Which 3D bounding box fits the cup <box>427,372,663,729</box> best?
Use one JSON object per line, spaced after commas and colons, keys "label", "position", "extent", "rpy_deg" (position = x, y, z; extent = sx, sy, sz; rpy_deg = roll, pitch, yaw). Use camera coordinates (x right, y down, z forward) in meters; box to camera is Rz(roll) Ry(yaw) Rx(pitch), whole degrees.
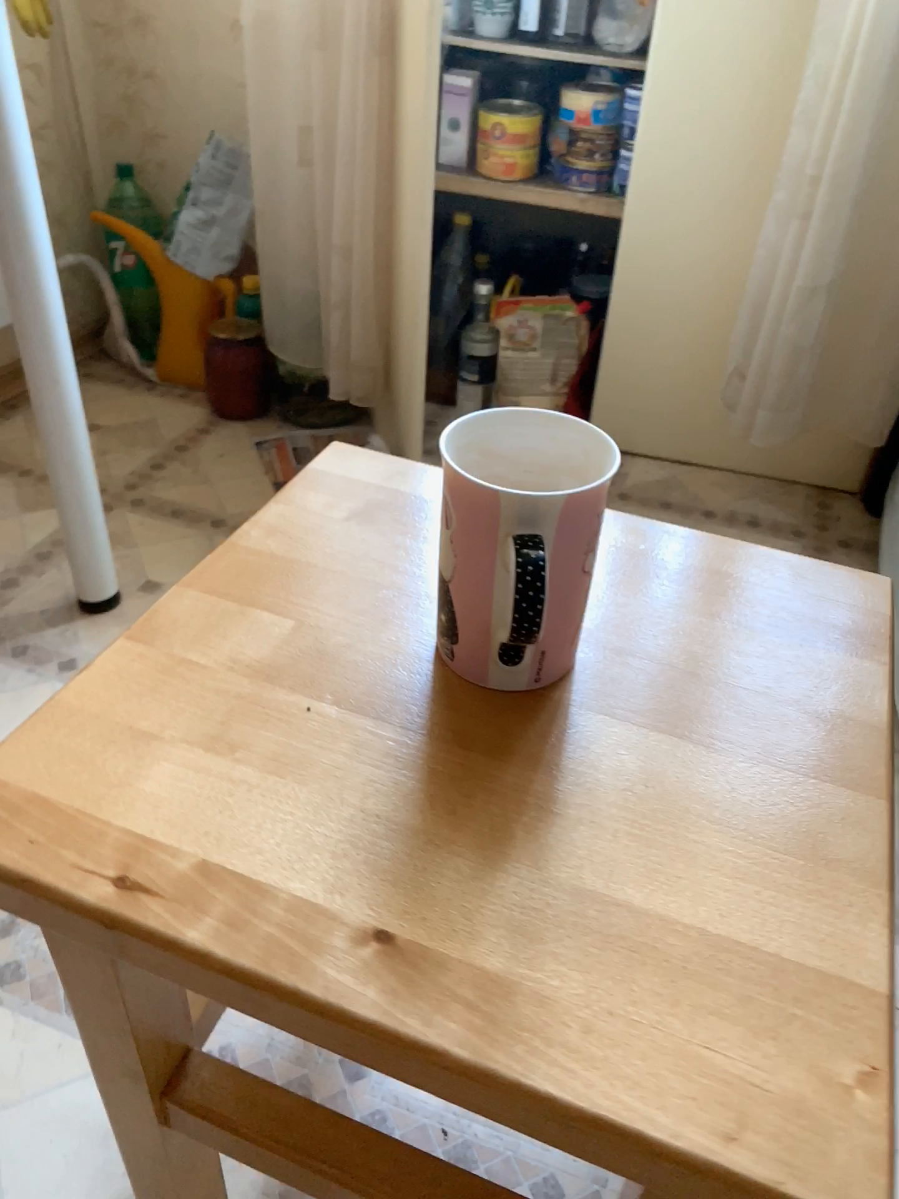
{"label": "cup", "position": [0.032, -0.023, 0.399], "extent": [0.074, 0.107, 0.114], "rpy_deg": [1, 36, -5]}
